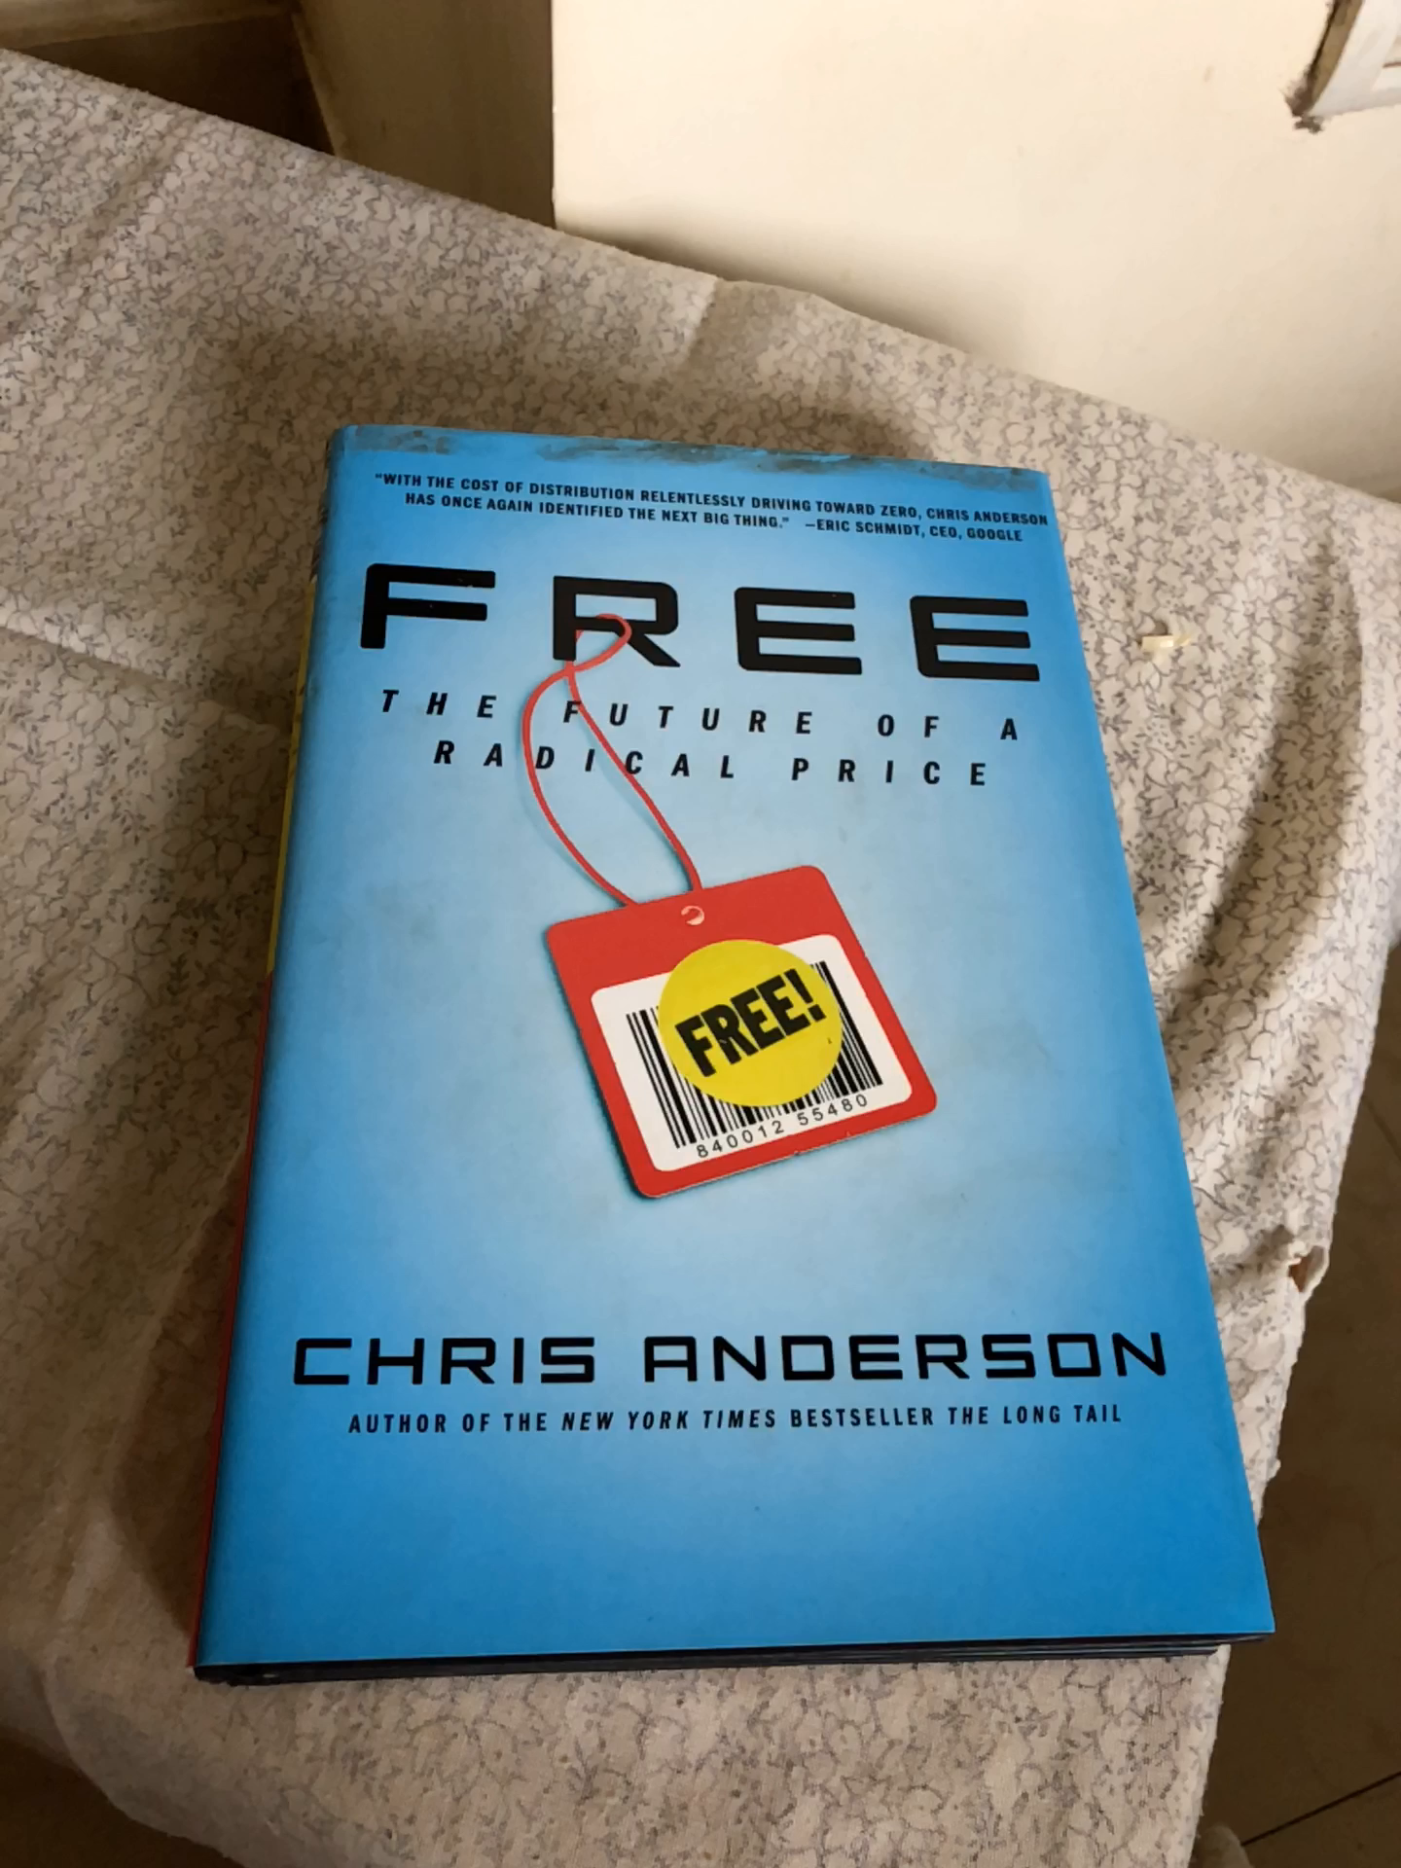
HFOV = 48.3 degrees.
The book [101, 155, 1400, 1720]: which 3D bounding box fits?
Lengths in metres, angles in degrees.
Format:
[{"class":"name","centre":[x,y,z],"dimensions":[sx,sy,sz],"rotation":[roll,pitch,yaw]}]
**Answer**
[{"class":"book","centre":[0.018,-0.027,0.268],"dimensions":[0.180,0.040,0.281],"rotation":[1,58,-5]}]
